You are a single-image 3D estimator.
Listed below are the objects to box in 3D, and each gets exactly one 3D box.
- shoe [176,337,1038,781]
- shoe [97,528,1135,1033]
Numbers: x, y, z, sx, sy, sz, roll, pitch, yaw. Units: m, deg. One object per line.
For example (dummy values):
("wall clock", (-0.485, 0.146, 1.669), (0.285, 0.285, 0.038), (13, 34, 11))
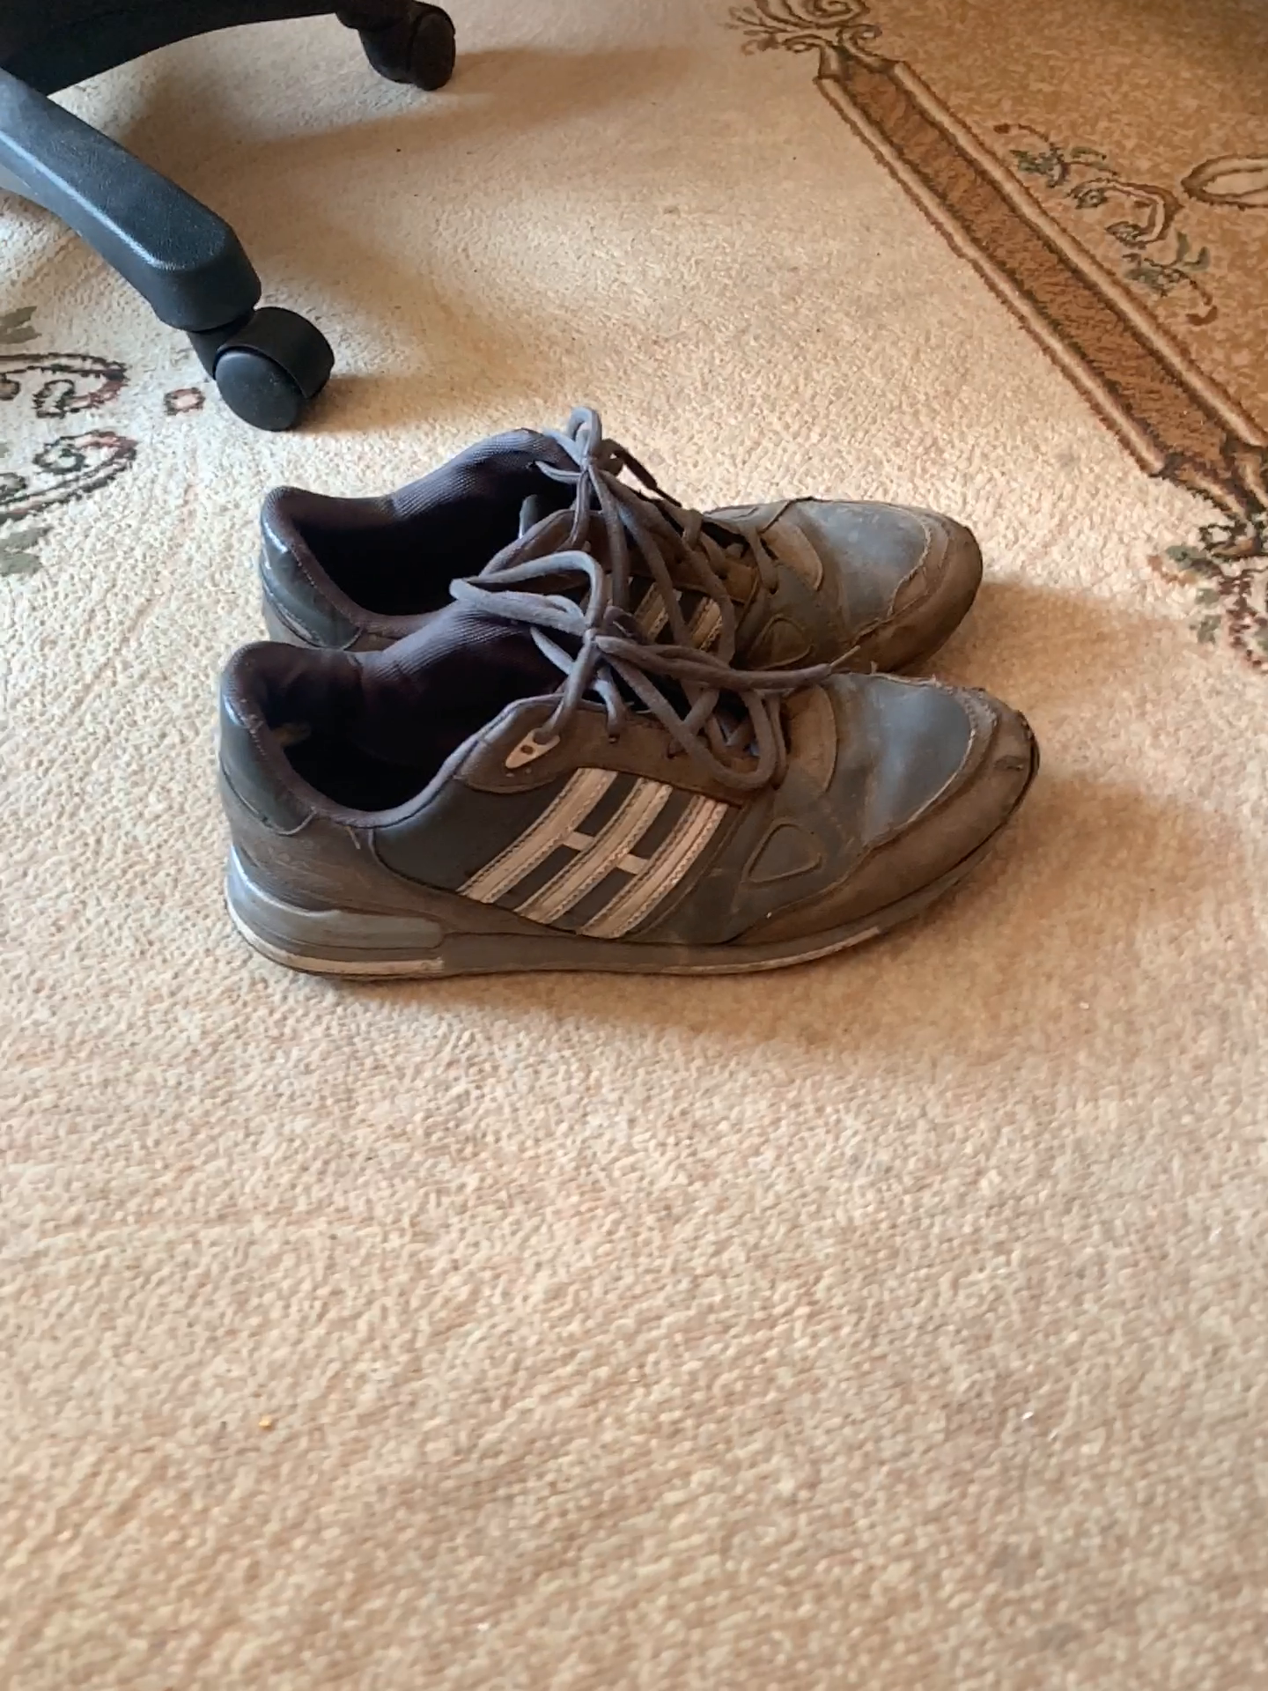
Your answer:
("shoe", (-0.011, -0.119, 0.541), (0.310, 0.099, 0.121), (-5, 53, 0))
("shoe", (-0.007, -0.022, 0.464), (0.313, 0.099, 0.117), (-5, 53, 0))
